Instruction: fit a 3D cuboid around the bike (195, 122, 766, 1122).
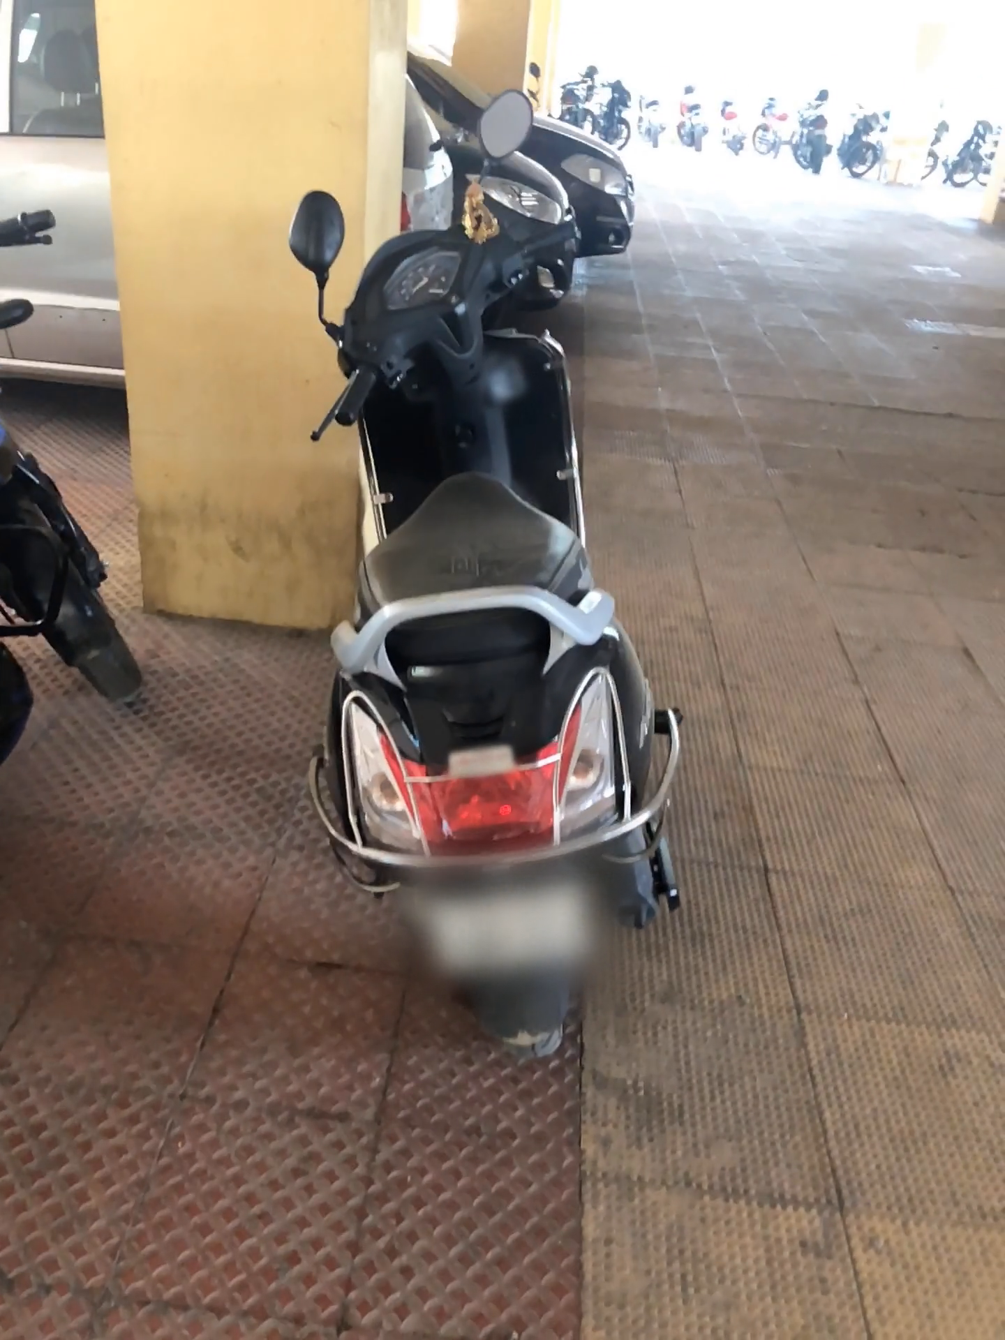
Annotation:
[{"bbox_3d":[-0.198,-0.220,2.035,0.608,1.172,1.448,-1,32,-12],"label":"bike"}]
